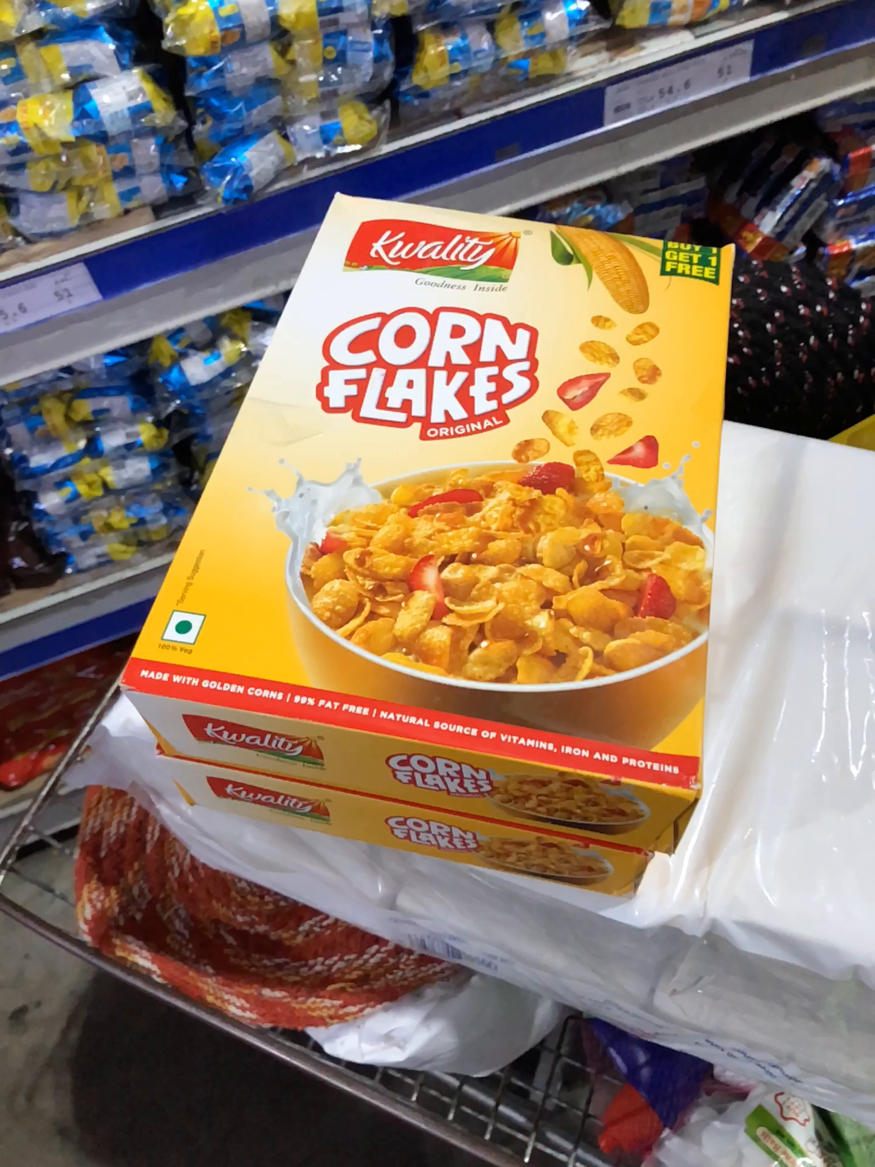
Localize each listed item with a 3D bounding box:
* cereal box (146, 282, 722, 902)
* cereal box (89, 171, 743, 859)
[{"bbox_3d":[0.016,-0.013,0.448,0.200,0.070,0.261,9,59,7],"label":"cereal box"},{"bbox_3d":[0.011,-0.047,0.382,0.190,0.060,0.261,9,59,7],"label":"cereal box"}]
